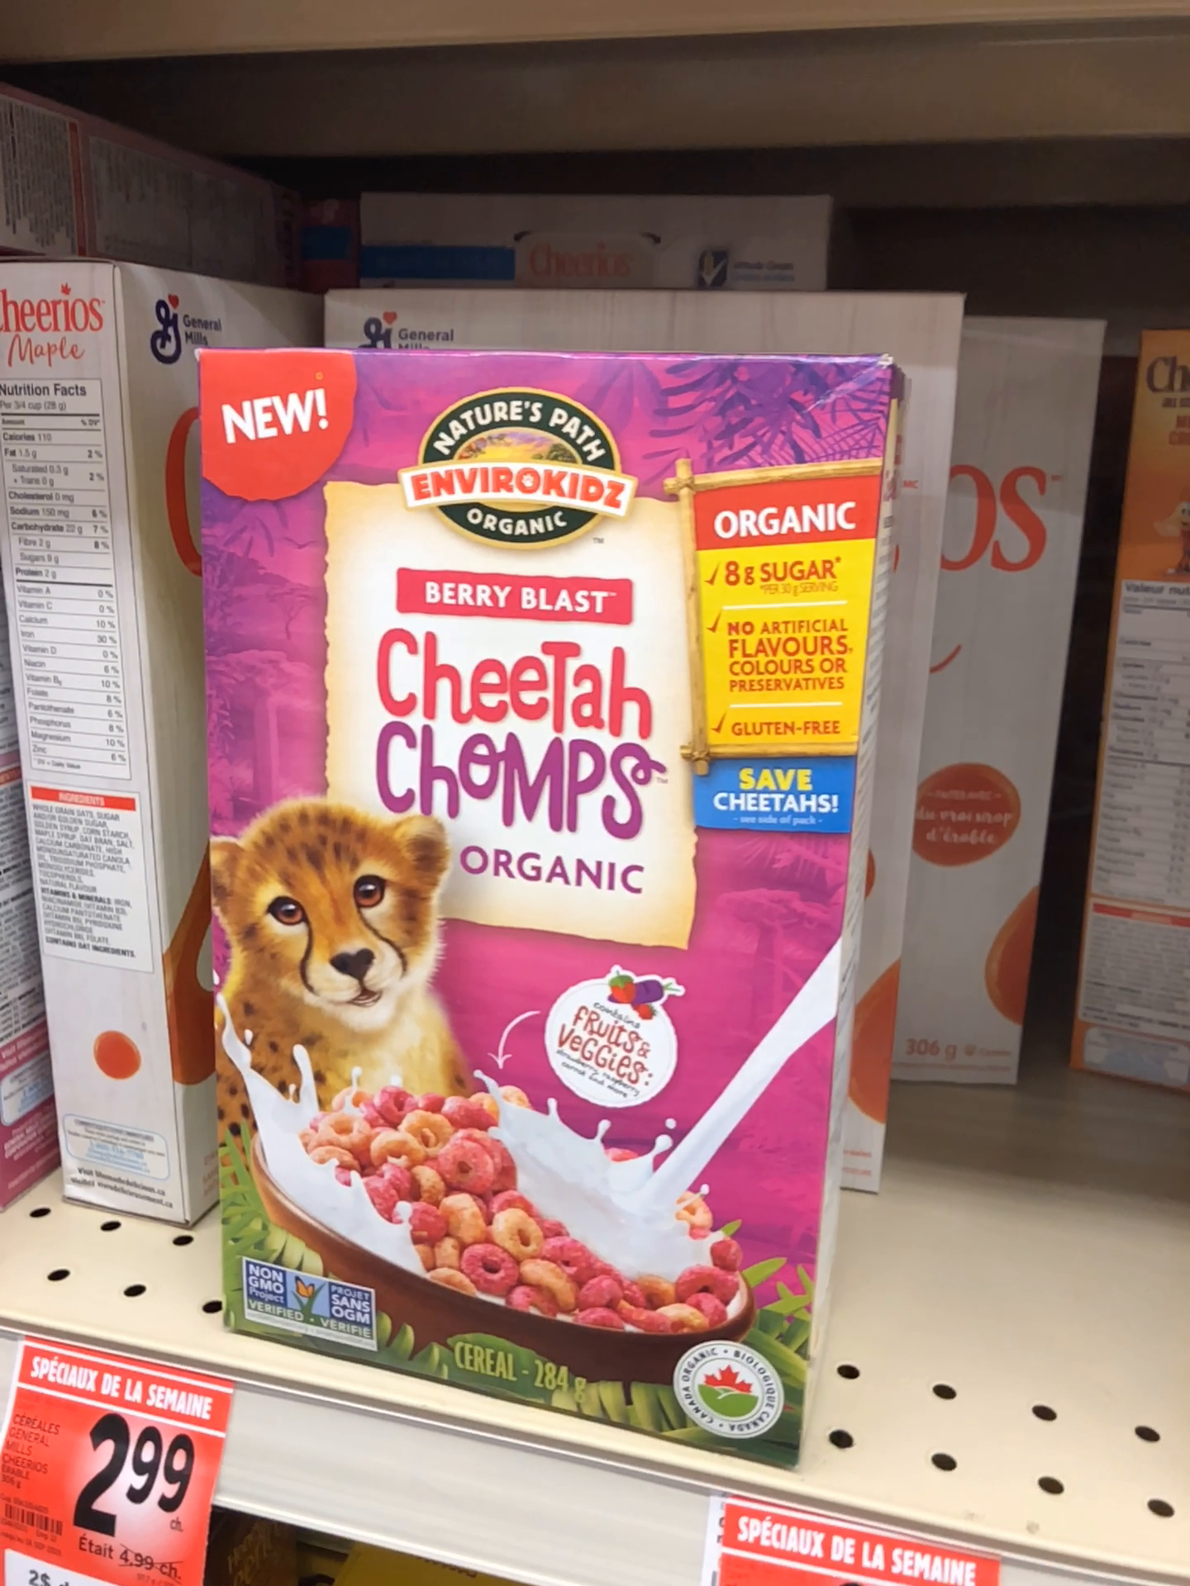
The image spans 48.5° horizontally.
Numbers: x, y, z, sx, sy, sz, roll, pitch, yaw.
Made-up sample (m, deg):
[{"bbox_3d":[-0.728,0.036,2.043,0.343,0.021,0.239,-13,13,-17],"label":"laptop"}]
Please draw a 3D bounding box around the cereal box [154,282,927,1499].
[{"bbox_3d":[-0.015,0.017,0.326,0.160,0.259,0.070,6,13,17],"label":"cereal box"}]
